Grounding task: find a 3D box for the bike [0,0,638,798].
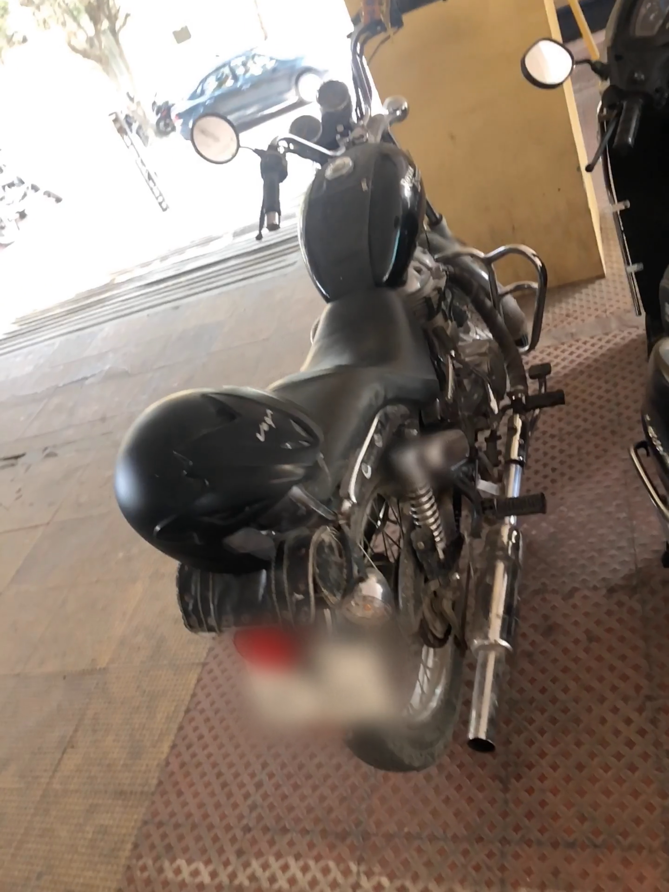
[{"bbox_3d":[0.010,-0.325,1.851,0.783,1.177,1.819,-16,38,19],"label":"bike"}]
